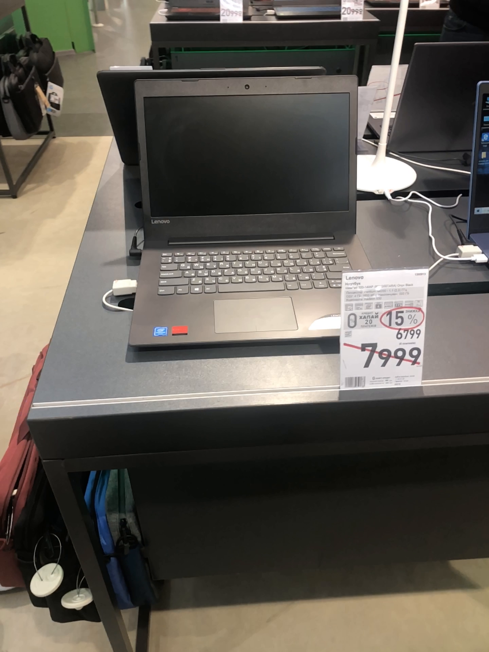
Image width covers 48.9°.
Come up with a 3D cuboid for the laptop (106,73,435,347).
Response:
[{"bbox_3d":[0.018,-0.180,0.738,0.330,0.205,0.363,-2,40,-3],"label":"laptop"}]
